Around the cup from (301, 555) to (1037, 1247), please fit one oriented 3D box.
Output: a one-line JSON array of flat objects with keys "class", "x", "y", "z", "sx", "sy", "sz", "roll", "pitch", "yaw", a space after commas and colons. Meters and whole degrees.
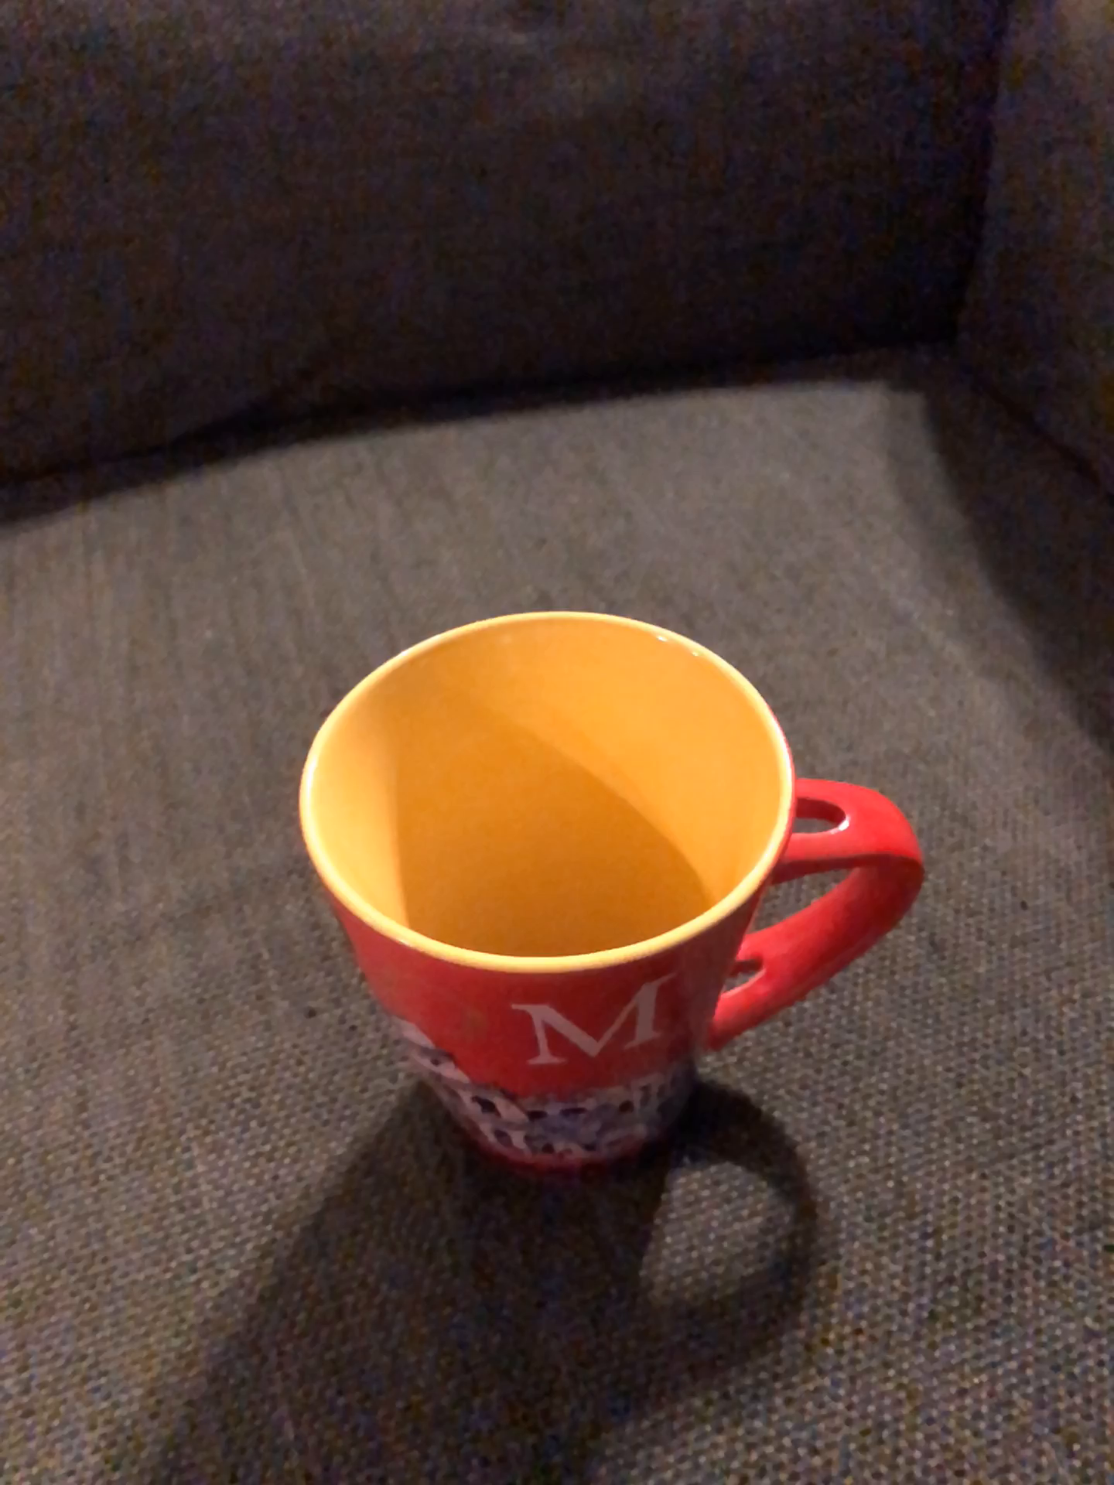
[{"class": "cup", "x": 0.014, "y": 0.034, "z": 0.268, "sx": 0.120, "sy": 0.099, "sz": 0.090, "roll": -7, "pitch": 46, "yaw": -4}]
